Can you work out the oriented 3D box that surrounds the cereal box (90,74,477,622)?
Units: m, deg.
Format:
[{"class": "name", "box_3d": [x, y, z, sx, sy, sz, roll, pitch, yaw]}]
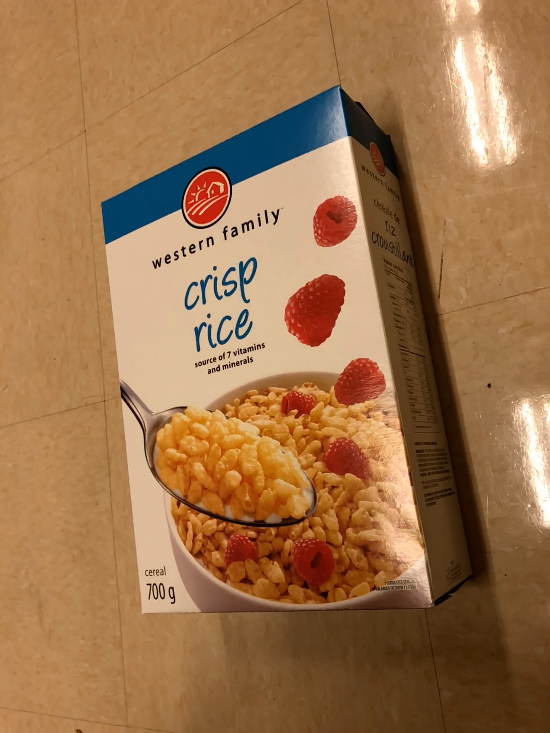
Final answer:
[{"class": "cereal box", "box_3d": [-0.013, 0.004, 0.433, 0.231, 0.080, 0.320, -15, 76, 31]}]
